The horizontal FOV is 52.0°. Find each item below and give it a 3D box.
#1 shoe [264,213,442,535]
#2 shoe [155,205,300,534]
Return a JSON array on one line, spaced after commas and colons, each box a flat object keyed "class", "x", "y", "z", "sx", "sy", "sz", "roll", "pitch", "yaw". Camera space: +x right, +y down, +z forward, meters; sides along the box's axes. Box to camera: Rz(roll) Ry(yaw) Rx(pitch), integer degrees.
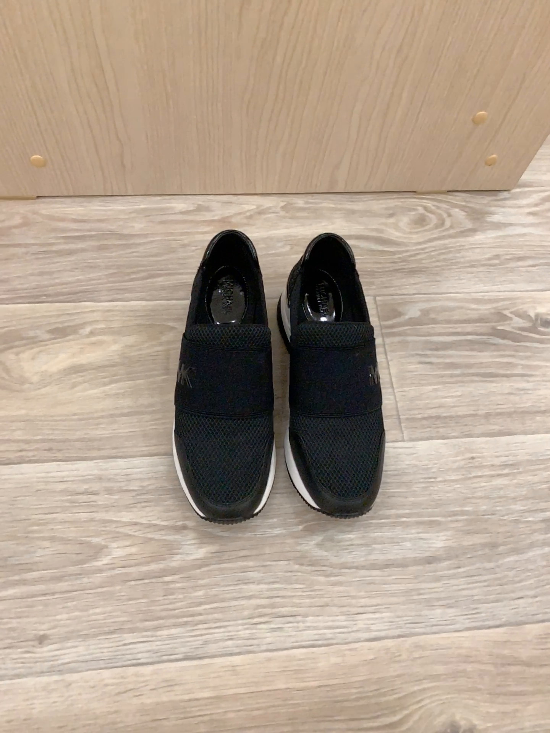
[{"class": "shoe", "x": 0.054, "y": 0.004, "z": 0.508, "sx": 0.098, "sy": 0.120, "sz": 0.261, "roll": -2, "pitch": 64, "yaw": -7}, {"class": "shoe", "x": -0.042, "y": 0.002, "z": 0.495, "sx": 0.098, "sy": 0.120, "sz": 0.261, "roll": 1, "pitch": 63, "yaw": -6}]
